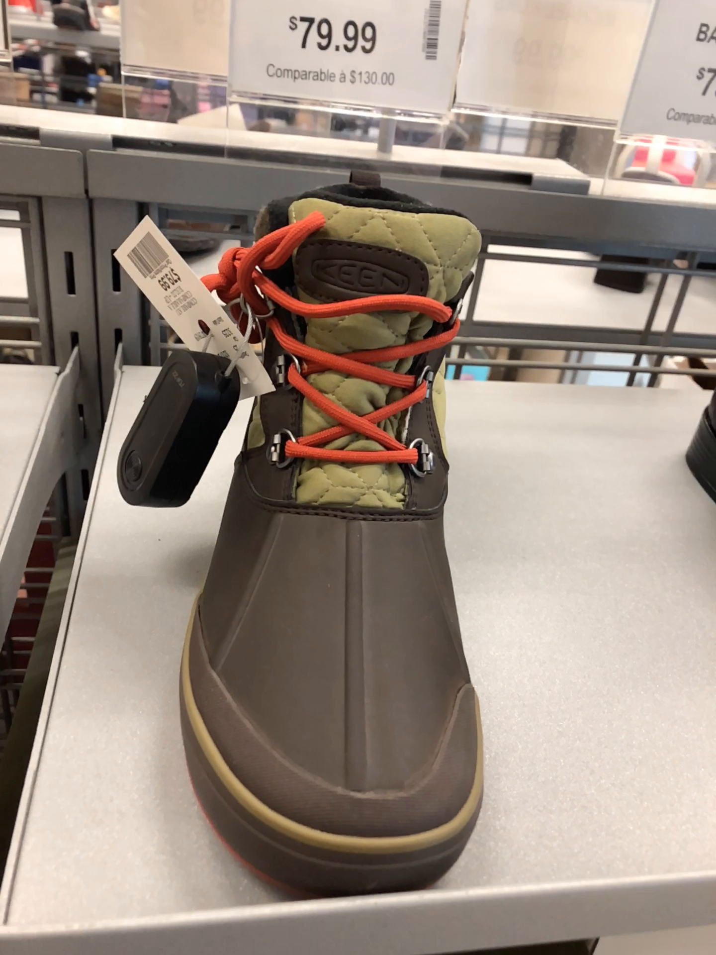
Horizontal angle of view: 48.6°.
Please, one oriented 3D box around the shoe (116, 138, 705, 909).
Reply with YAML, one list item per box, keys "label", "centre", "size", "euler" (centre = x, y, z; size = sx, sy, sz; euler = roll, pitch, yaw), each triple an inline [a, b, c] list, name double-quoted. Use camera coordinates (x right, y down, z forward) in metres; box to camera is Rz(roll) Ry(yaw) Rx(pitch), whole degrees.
- label: "shoe"
  centre: [-0.012, -0.017, 0.285]
  size: [0.107, 0.139, 0.262]
  euler: [2, 32, -10]
